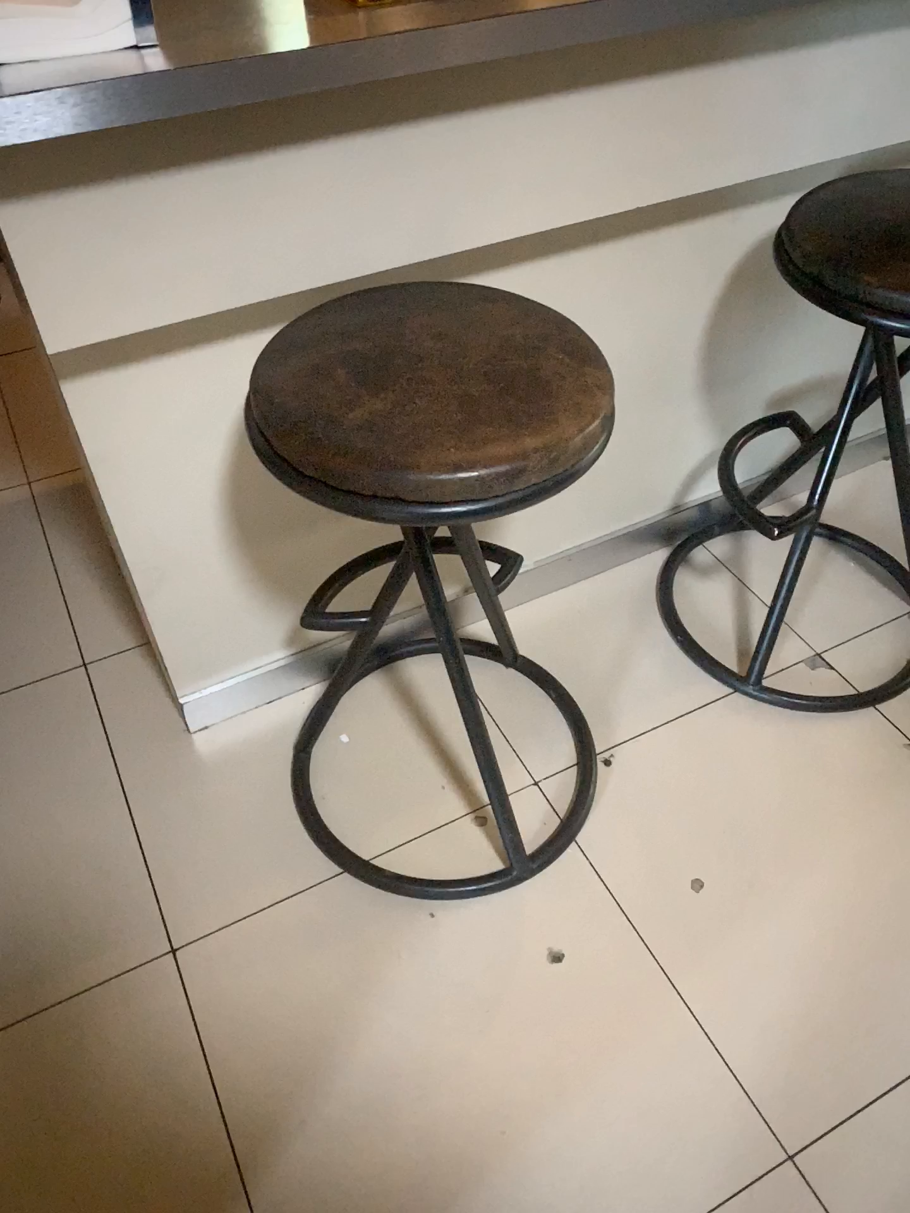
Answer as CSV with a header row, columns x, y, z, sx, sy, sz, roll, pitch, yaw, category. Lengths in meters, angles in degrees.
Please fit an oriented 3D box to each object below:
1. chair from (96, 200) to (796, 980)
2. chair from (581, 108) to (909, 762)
x,y,z,sx,sy,sz,roll,pitch,yaw,category
-0.035,-0.024,1.238,0.550,0.727,0.549,-22,49,-19,chair
0.608,-0.270,1.458,0.550,0.727,0.529,-22,49,-19,chair
